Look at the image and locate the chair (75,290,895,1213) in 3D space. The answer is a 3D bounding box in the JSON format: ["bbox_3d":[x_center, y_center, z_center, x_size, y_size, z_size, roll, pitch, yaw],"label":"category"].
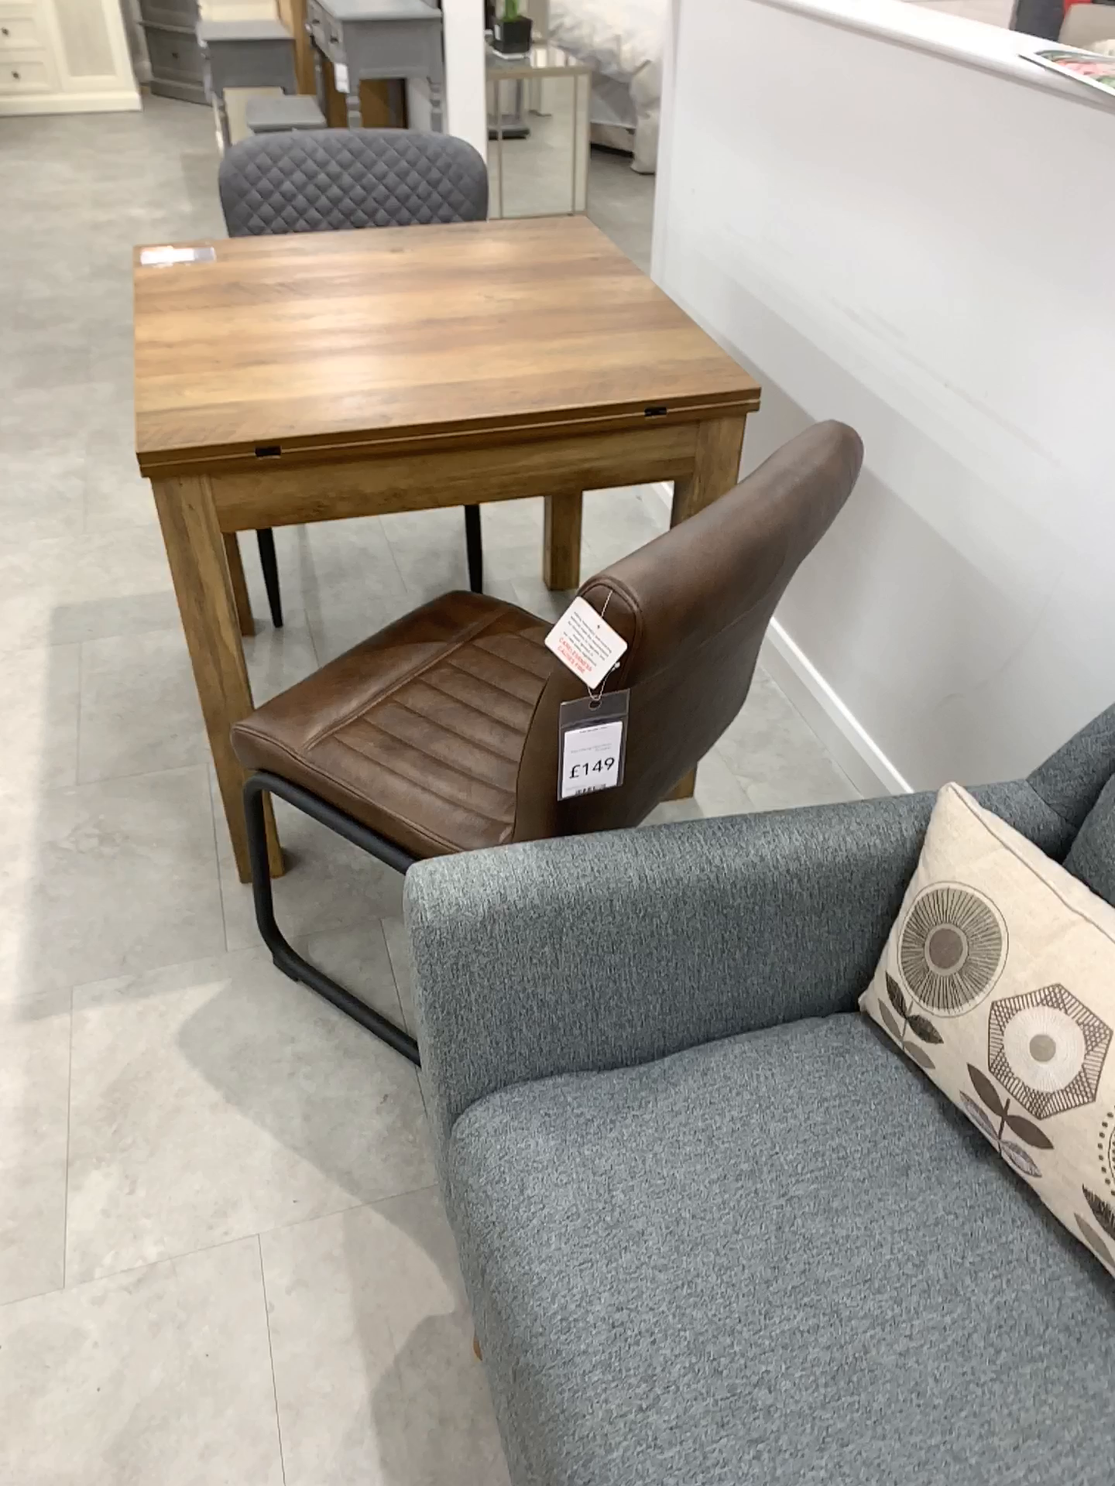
[{"bbox_3d":[-0.076,-0.014,1.361,0.634,0.773,0.501,27,46,28],"label":"chair"}]
